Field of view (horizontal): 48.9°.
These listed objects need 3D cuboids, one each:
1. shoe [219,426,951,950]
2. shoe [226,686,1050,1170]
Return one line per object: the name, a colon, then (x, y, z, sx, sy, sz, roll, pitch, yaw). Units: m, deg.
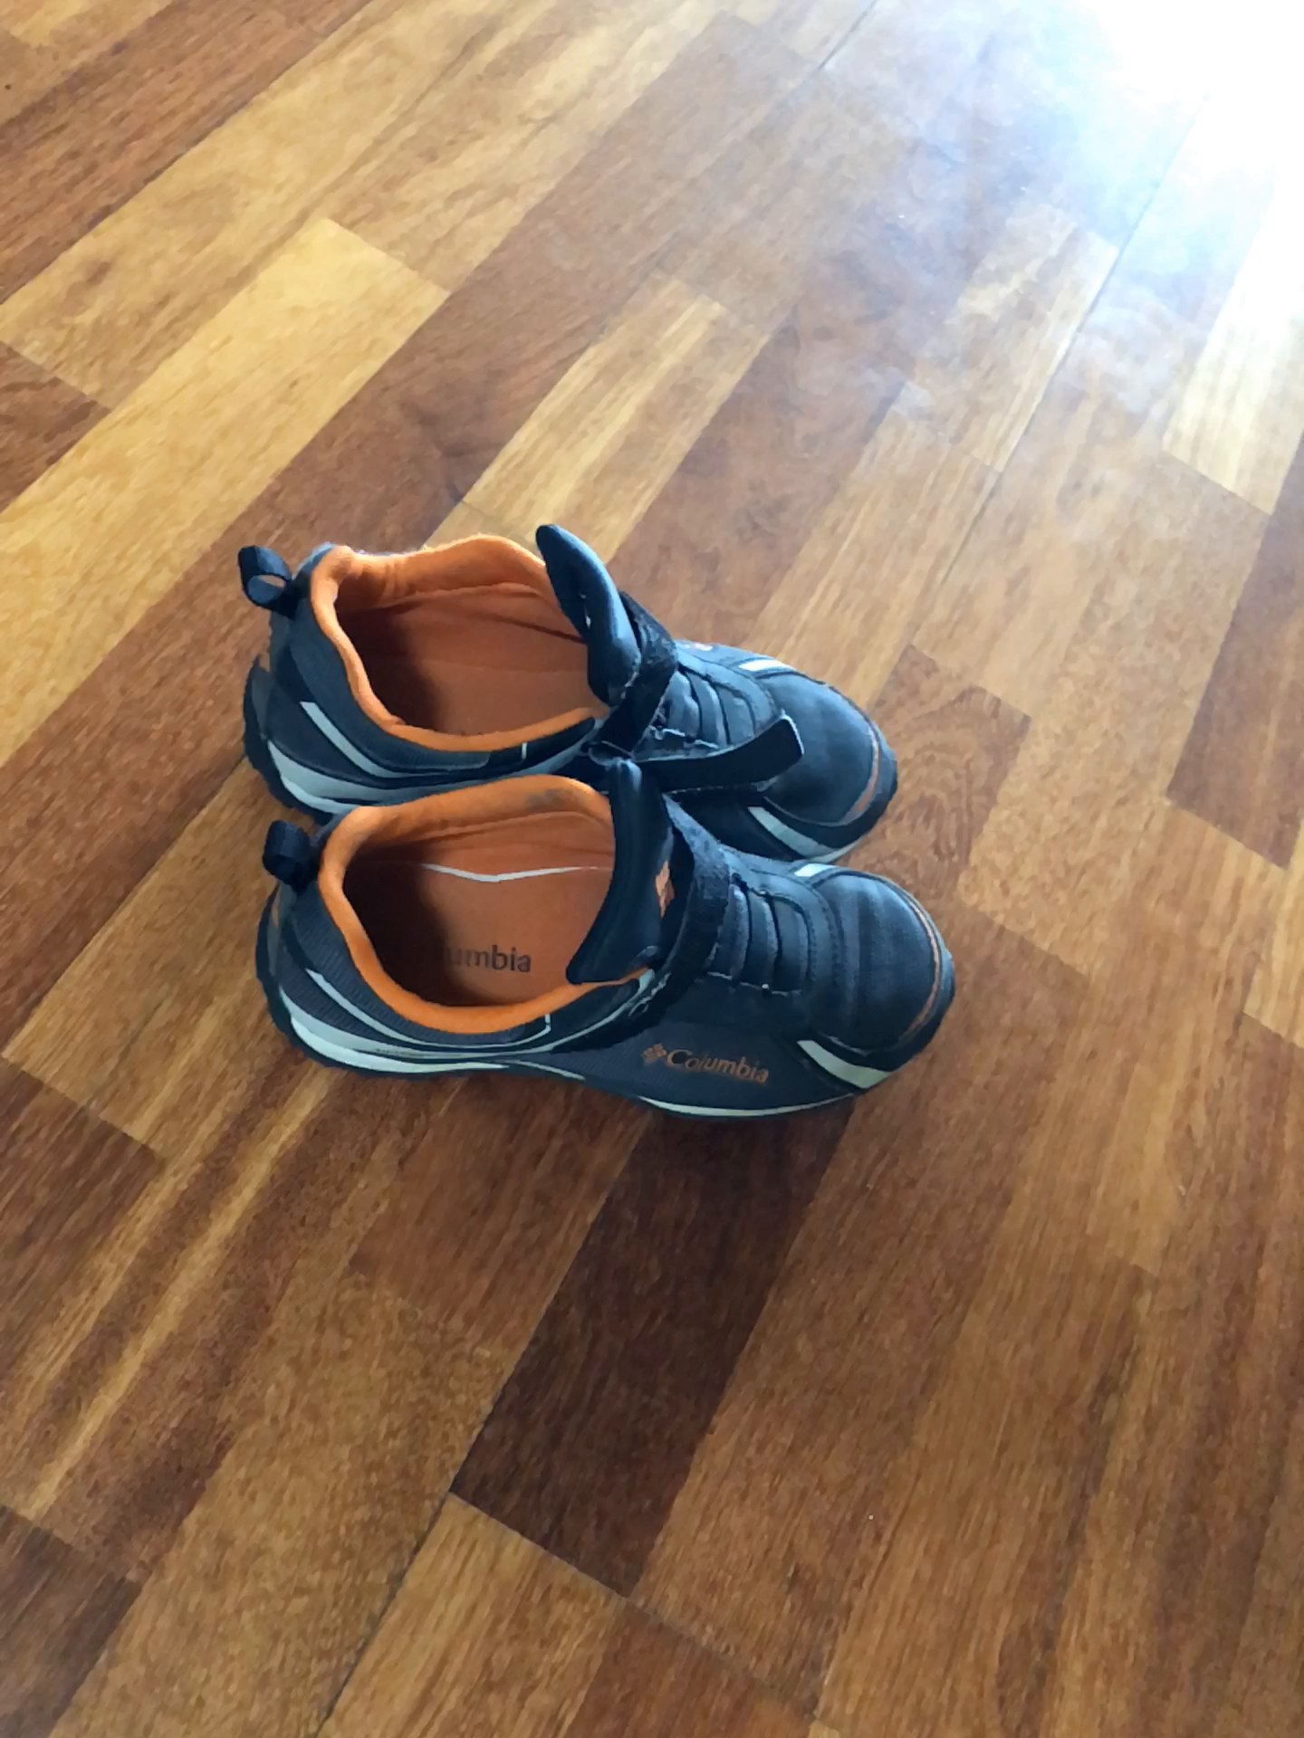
shoe: (-0.030, -0.060, 0.561, 0.252, 0.127, 0.112, 9, 63, -12)
shoe: (-0.008, 0.028, 0.483, 0.247, 0.102, 0.097, 9, 63, -12)
